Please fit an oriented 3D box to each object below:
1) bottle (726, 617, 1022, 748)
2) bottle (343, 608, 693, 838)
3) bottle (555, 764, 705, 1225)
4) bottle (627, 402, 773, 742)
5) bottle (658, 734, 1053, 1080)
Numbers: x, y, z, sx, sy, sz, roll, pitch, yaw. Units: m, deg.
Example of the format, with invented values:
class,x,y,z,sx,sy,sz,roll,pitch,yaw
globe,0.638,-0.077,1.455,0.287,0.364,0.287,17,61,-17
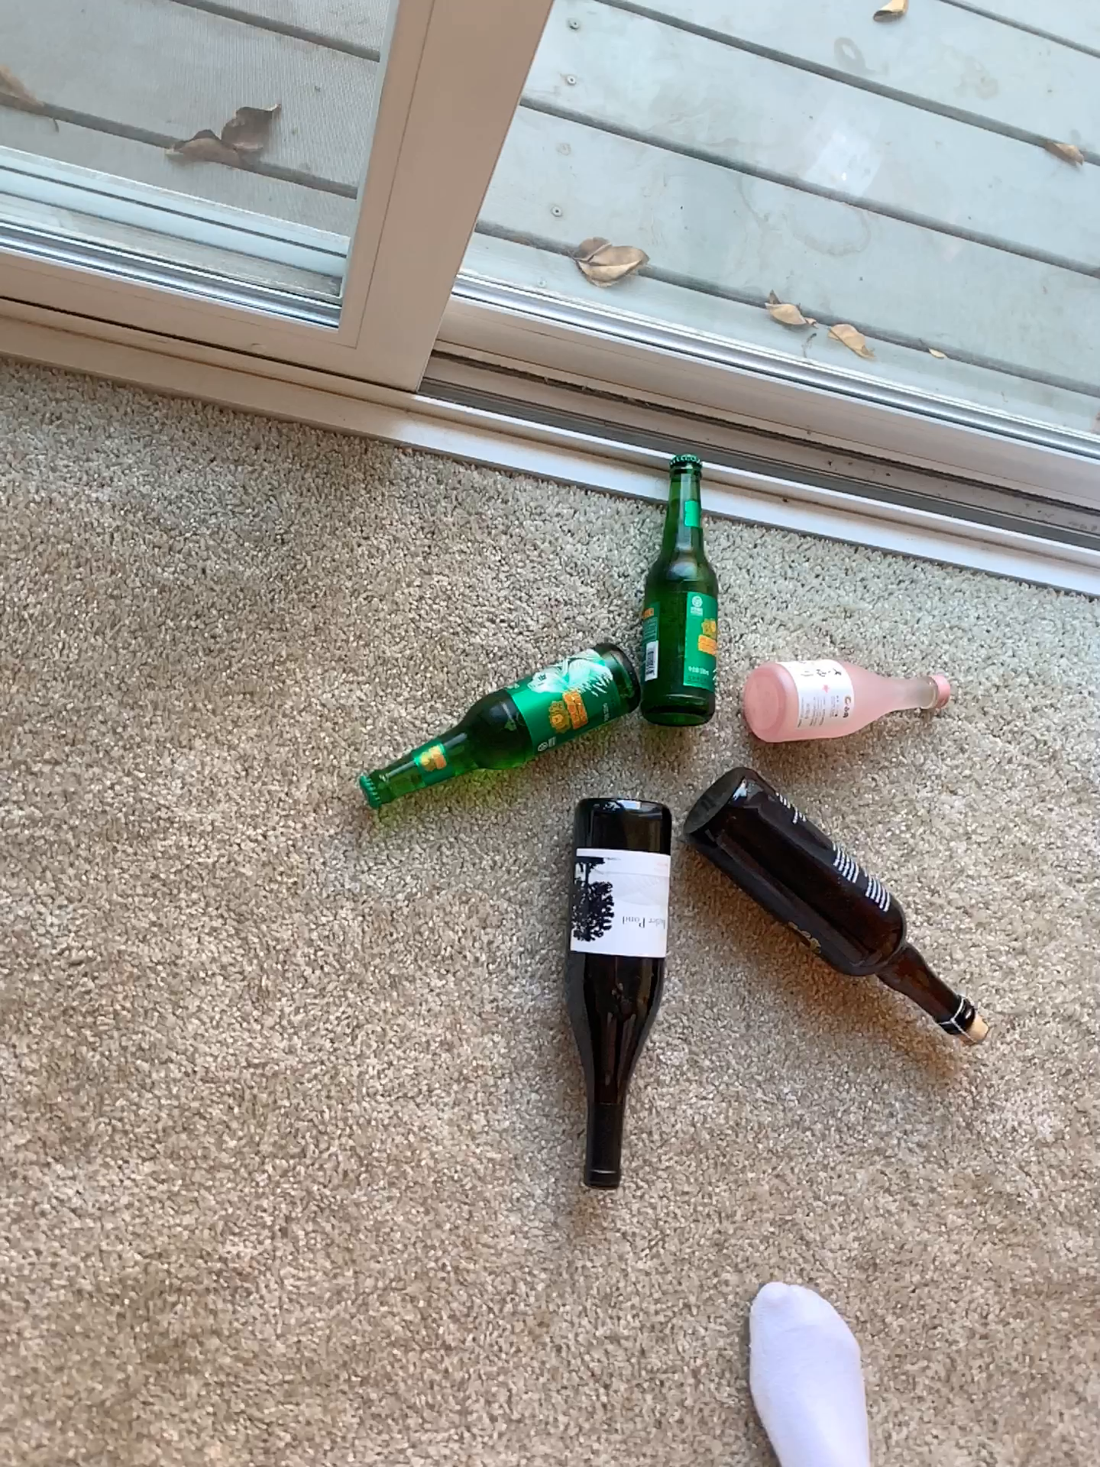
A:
class,x,y,z,sx,sy,sz,roll,pitch,yaw
bottle,0.266,-0.042,0.935,0.210,0.090,0.080,-4,81,-14
bottle,-0.024,-0.008,0.842,0.240,0.090,0.070,-24,87,-21
bottle,0.056,0.186,0.830,0.080,0.090,0.310,4,76,-15
bottle,0.121,-0.126,0.913,0.080,0.090,0.250,6,81,-15
bottle,0.241,0.141,0.900,0.310,0.090,0.080,41,72,-3
